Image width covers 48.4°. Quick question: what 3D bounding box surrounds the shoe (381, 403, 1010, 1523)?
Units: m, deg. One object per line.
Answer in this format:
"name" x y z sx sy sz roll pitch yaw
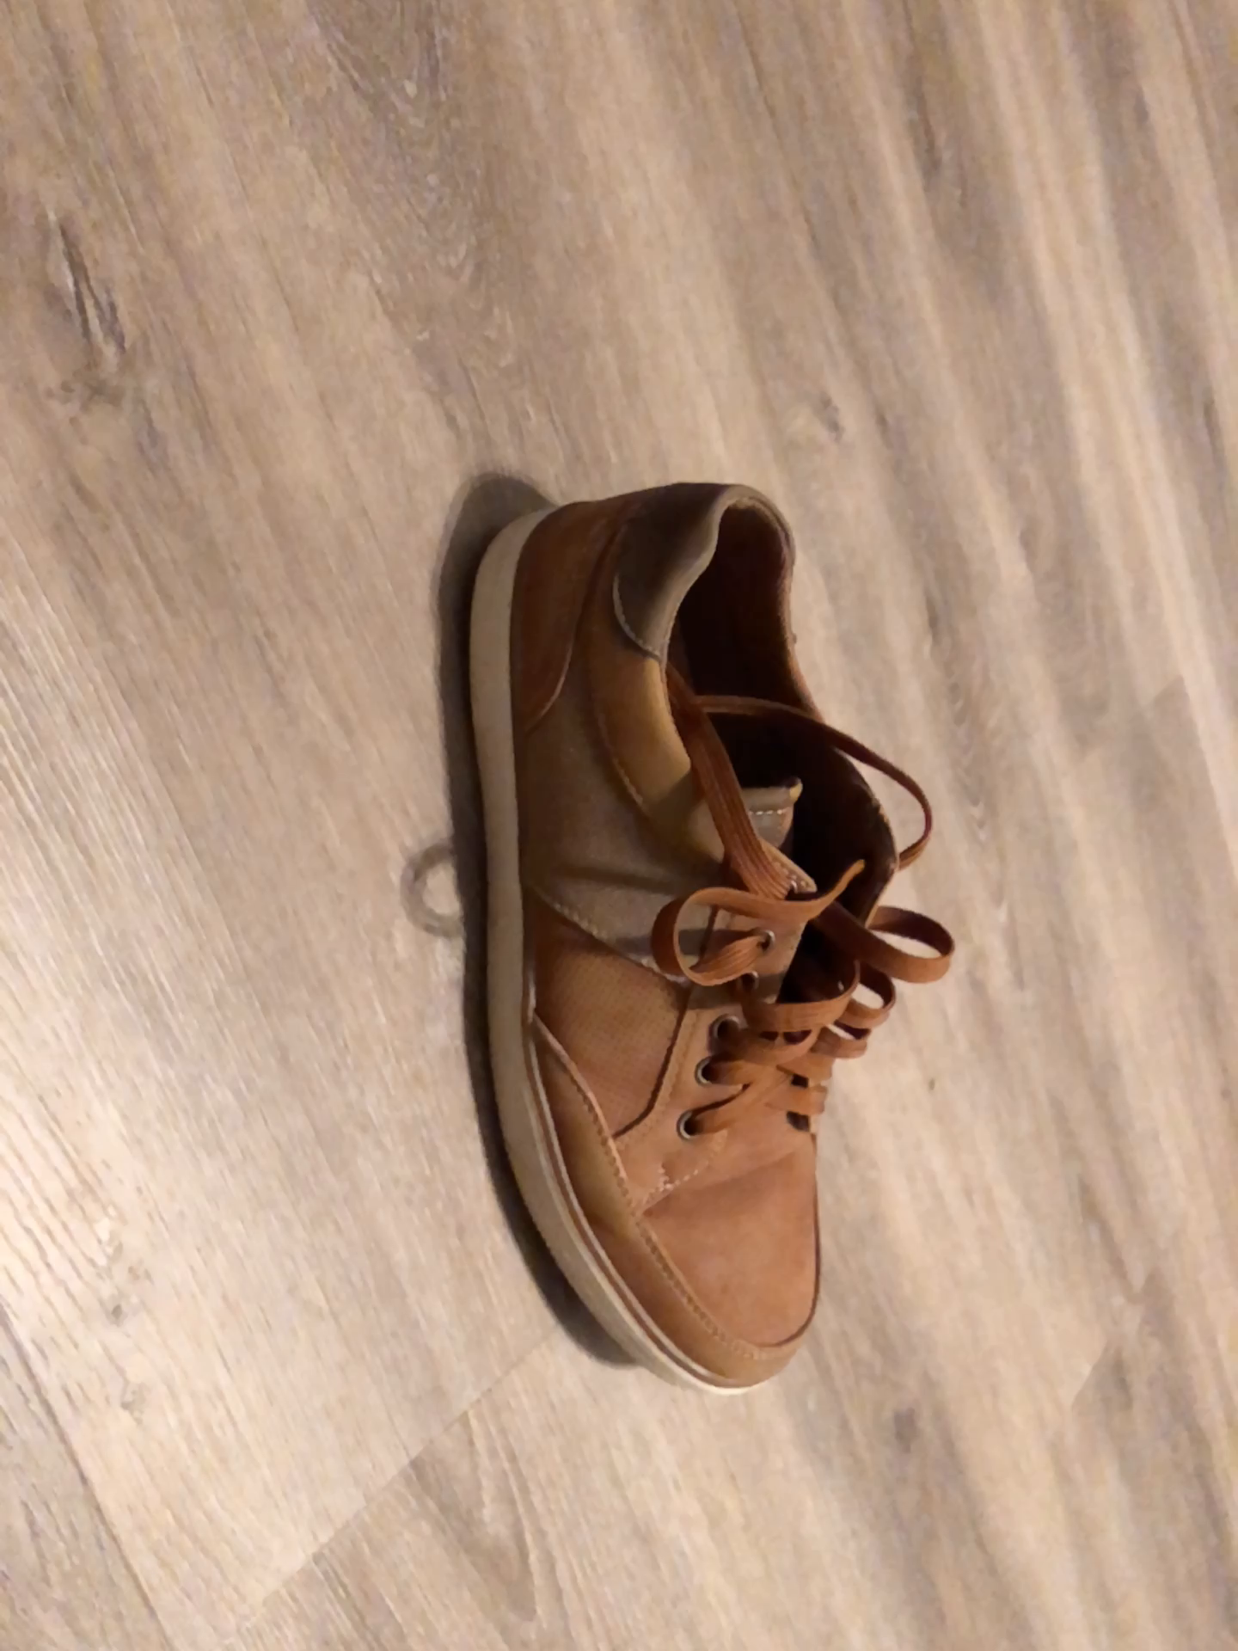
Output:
"shoe" 0.025 0.033 0.414 0.111 0.099 0.280 -10 92 -45
